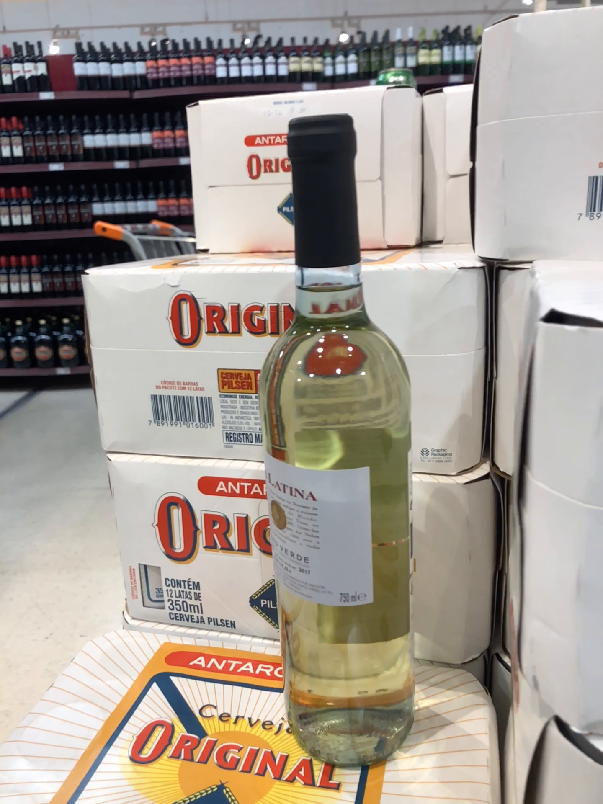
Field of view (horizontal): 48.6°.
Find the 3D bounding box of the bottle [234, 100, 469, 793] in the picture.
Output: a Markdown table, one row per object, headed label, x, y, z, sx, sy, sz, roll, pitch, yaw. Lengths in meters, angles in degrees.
| label | x | y | z | sx | sy | sz | roll | pitch | yaw |
| --- | --- | --- | --- | --- | --- | --- | --- | --- | --- |
| bottle | 0.022 | 0.025 | 0.329 | 0.070 | 0.308 | 0.080 | -9 | 18 | -23 |
